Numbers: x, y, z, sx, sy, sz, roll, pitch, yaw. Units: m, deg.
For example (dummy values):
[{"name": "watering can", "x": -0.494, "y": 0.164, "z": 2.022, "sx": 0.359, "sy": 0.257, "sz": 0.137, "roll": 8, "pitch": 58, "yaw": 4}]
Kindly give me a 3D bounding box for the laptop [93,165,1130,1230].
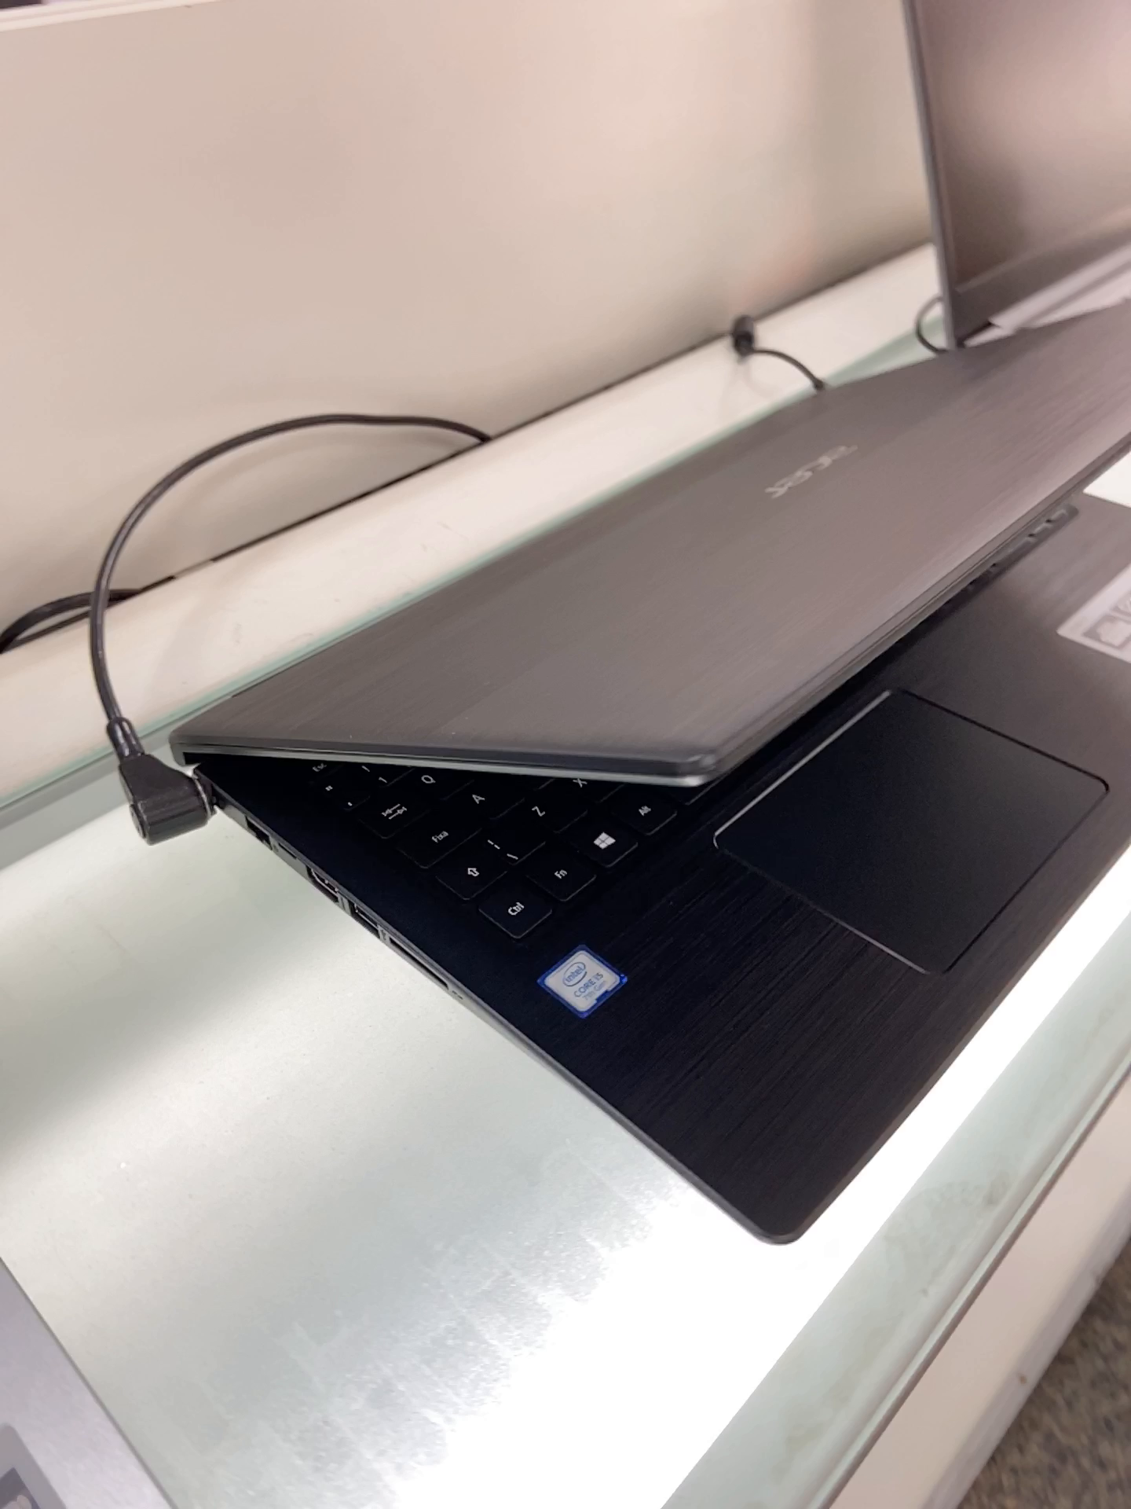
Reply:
[{"name": "laptop", "x": 0.089, "y": -0.081, "z": 0.395, "sx": 0.236, "sy": 0.118, "sz": 0.382, "roll": 30, "pitch": 48, "yaw": 33}]
